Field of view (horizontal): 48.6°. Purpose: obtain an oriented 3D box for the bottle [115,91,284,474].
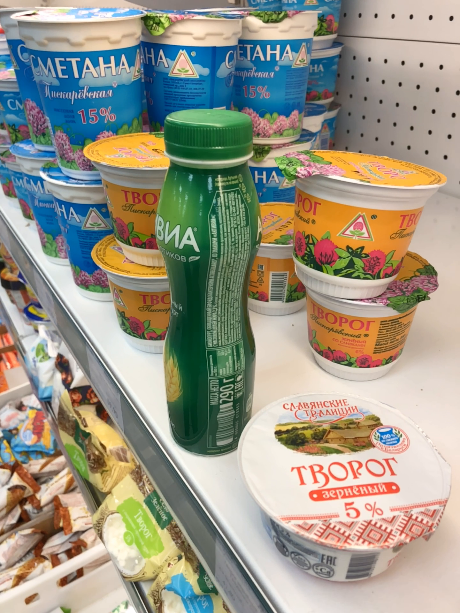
[{"bbox_3d":[-0.016,-0.009,0.270,0.060,0.183,0.070,-9,31,-13],"label":"bottle"}]
